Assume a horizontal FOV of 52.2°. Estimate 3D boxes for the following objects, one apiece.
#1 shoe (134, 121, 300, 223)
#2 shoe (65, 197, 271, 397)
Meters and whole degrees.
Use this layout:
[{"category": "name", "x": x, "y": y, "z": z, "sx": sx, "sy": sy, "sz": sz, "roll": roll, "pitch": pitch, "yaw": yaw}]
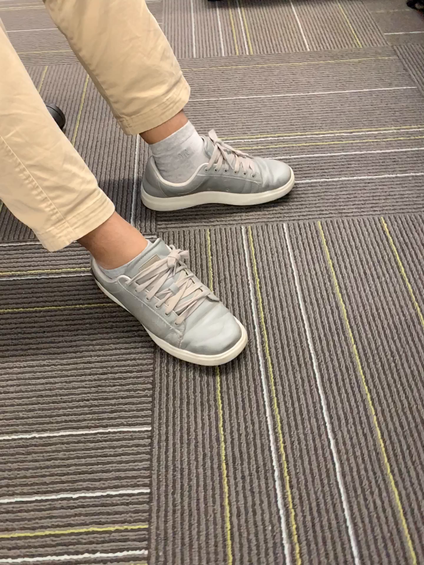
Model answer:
[{"category": "shoe", "x": 0.005, "y": -0.205, "z": 0.806, "sx": 0.280, "sy": 0.110, "sz": 0.121, "roll": -6, "pitch": 54, "yaw": -2}, {"category": "shoe", "x": -0.064, "y": 0.015, "z": 0.639, "sx": 0.271, "sy": 0.139, "sz": 0.120, "roll": 34, "pitch": 62, "yaw": 24}]
